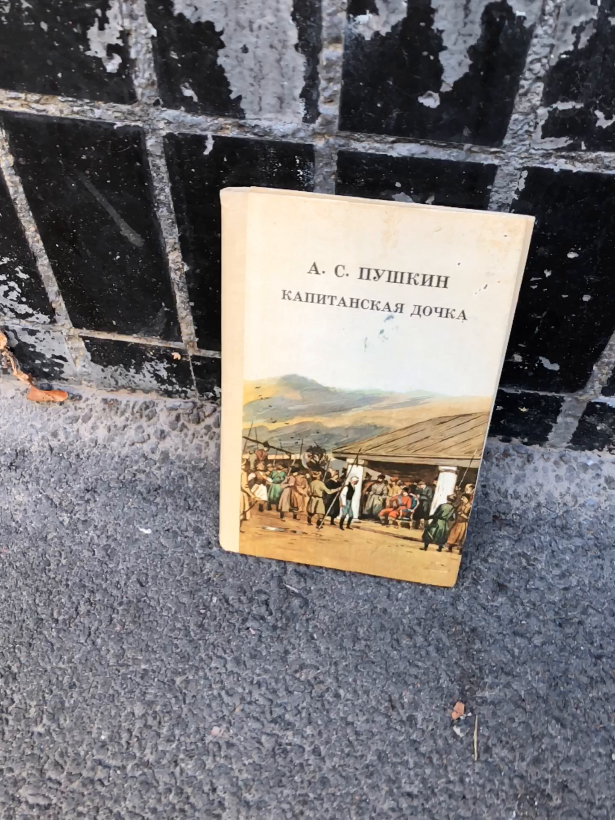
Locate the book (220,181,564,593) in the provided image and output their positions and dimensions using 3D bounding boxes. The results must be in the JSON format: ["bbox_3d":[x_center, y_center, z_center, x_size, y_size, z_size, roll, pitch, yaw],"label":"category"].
[{"bbox_3d":[0.031,-0.002,0.364,0.150,0.214,0.020,8,29,5],"label":"book"}]
